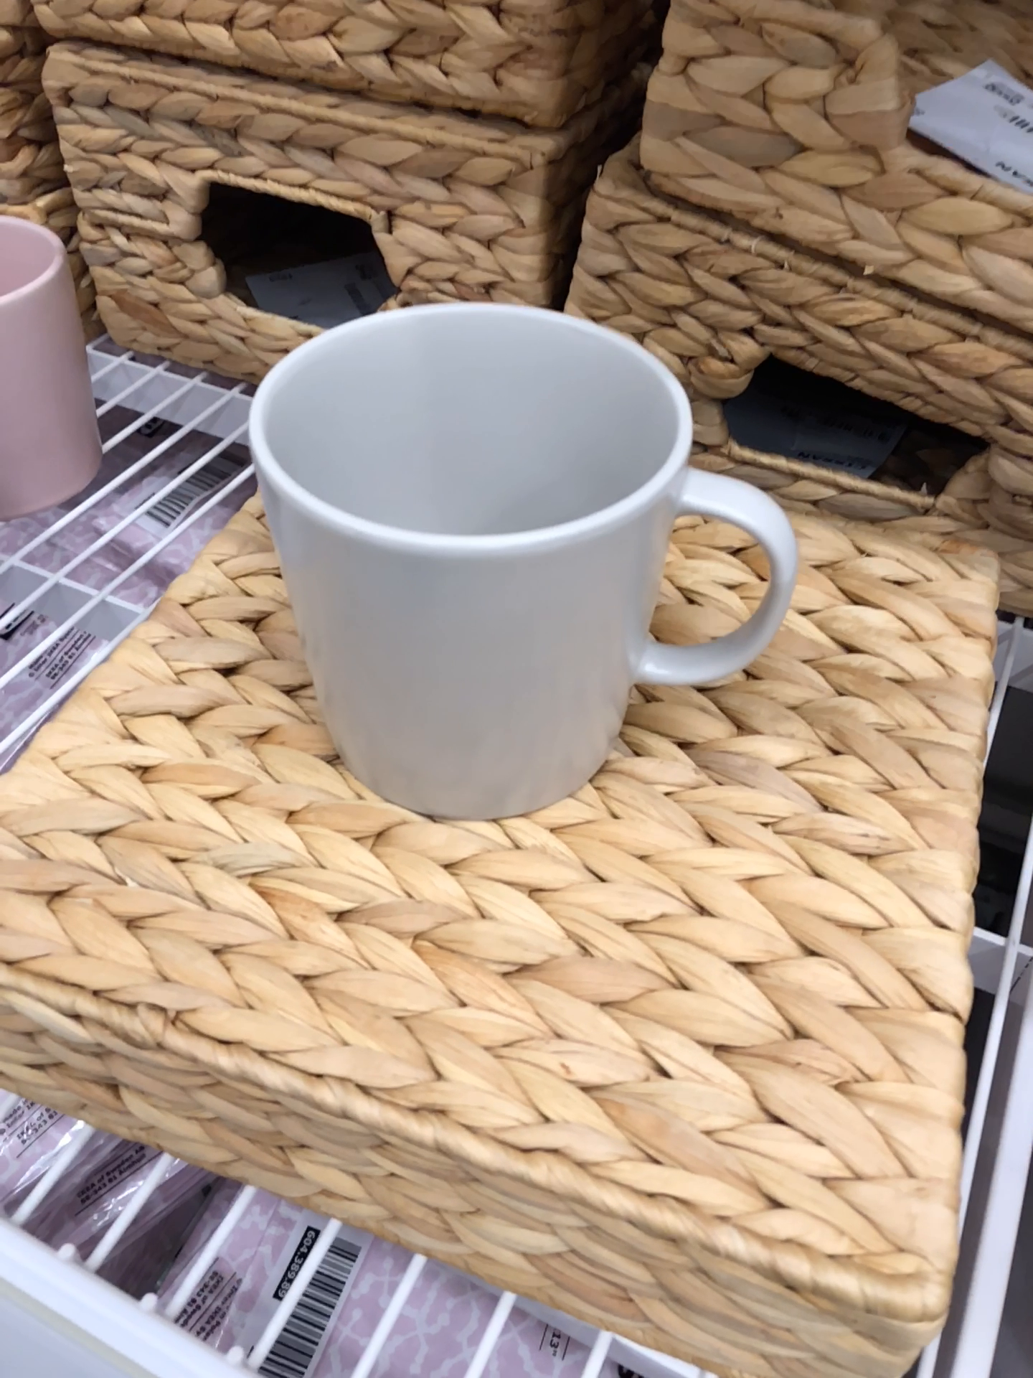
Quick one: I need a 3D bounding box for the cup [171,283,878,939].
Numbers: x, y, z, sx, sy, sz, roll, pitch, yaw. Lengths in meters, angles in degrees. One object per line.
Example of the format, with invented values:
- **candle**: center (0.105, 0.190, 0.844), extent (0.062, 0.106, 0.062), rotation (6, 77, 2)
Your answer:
- **cup**: center (0.007, -0.022, 0.261), extent (0.120, 0.090, 0.090), rotation (13, 45, 12)
